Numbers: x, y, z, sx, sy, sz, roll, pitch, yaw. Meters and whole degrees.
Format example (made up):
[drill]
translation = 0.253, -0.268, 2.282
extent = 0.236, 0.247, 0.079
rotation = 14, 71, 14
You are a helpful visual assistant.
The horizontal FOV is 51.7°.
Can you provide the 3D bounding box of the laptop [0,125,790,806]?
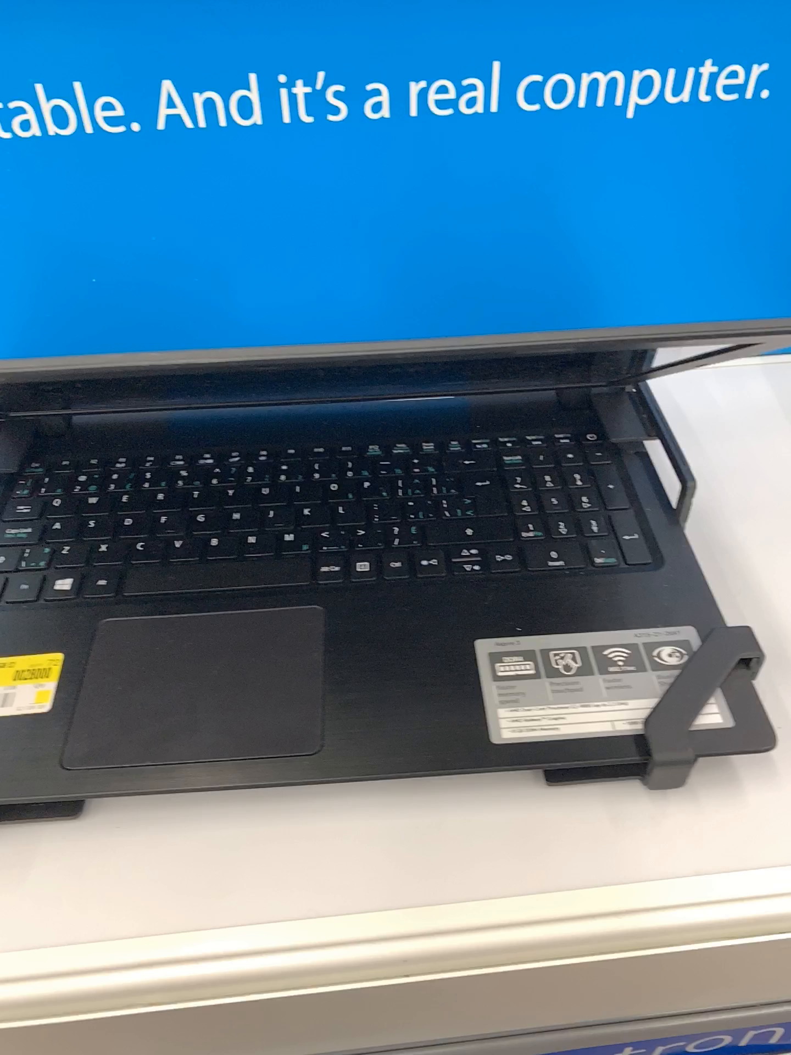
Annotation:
[laptop]
translation = -0.041, -0.041, 0.347
extent = 0.364, 0.146, 0.234
rotation = -3, 45, -1
